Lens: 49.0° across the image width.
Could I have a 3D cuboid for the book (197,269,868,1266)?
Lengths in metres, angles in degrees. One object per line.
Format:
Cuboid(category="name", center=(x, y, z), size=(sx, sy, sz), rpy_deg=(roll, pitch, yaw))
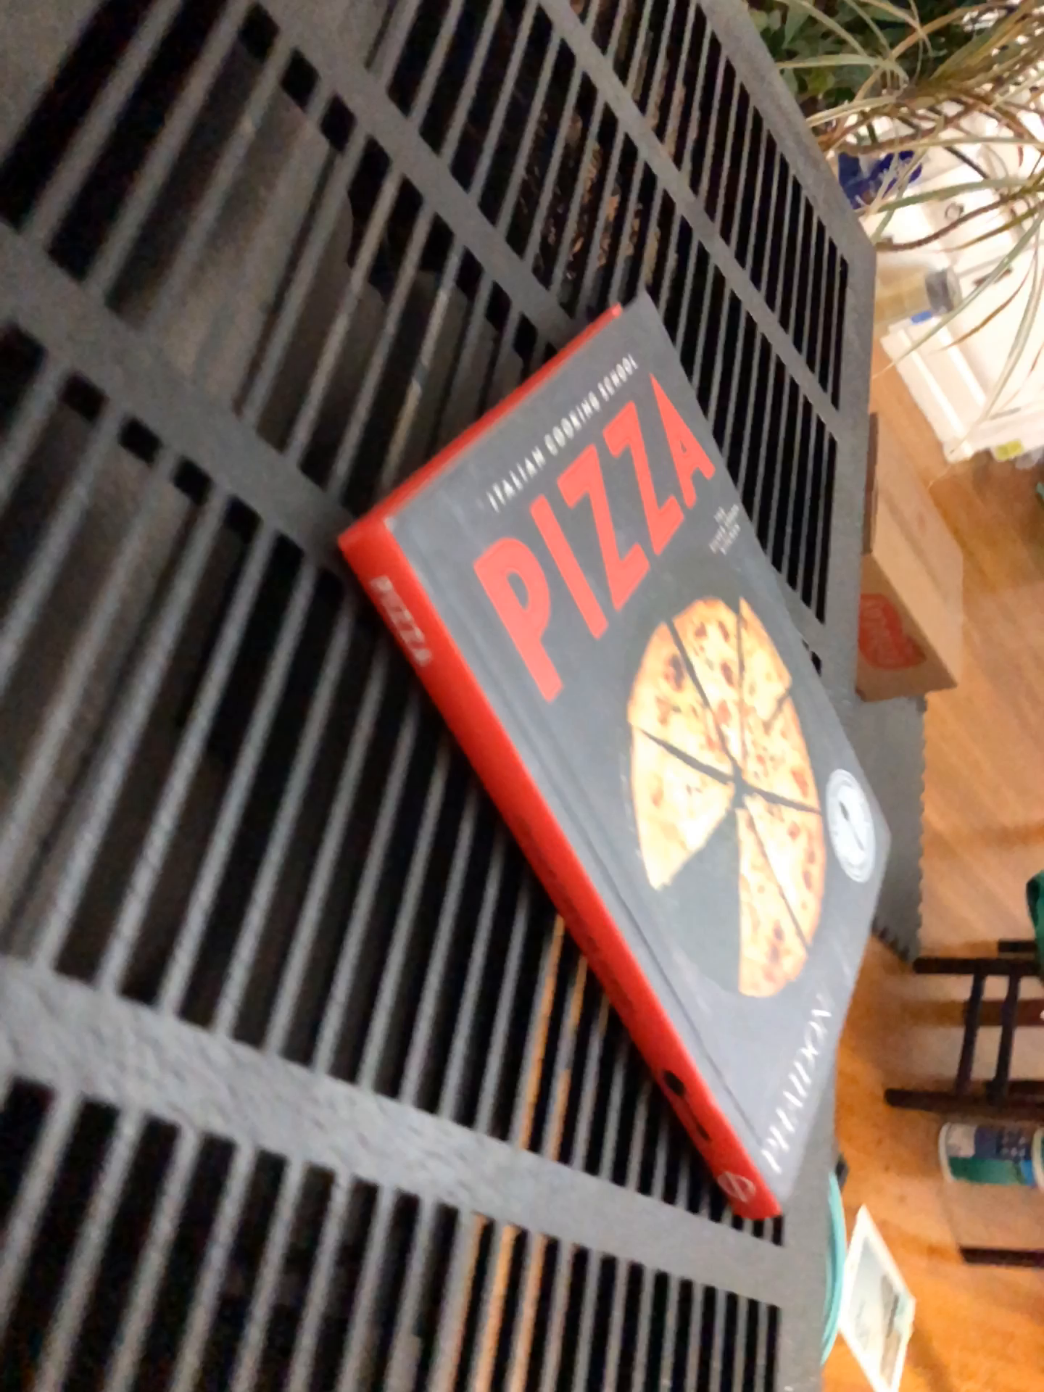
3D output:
Cuboid(category="book", center=(0.032, 0.013, 0.339), size=(0.230, 0.020, 0.181), rpy_deg=(60, 41, -21))
